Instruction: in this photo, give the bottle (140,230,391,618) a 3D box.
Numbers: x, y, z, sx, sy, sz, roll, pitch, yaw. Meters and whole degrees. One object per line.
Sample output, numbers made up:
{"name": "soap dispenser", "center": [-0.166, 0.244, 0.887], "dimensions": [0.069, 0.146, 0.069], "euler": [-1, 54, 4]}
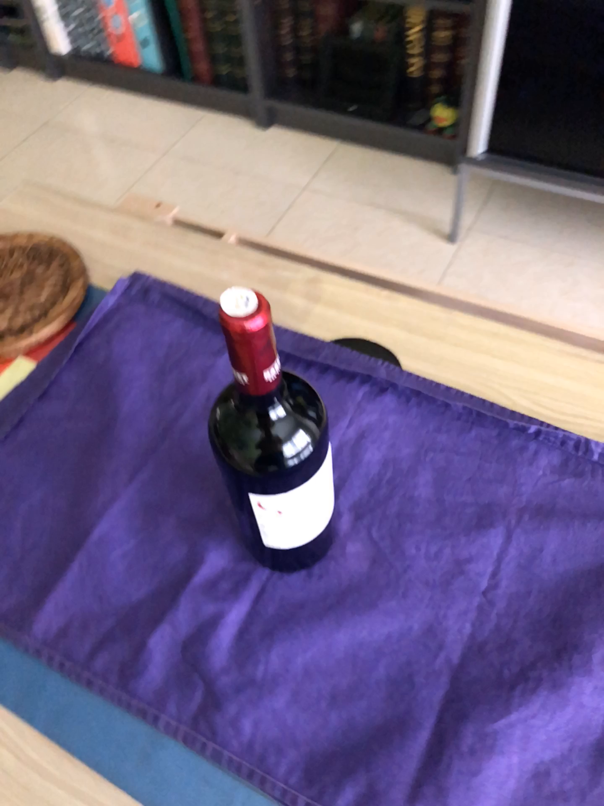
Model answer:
{"name": "bottle", "center": [-0.008, 0.034, 0.446], "dimensions": [0.090, 0.269, 0.090], "euler": [-3, 53, 4]}
